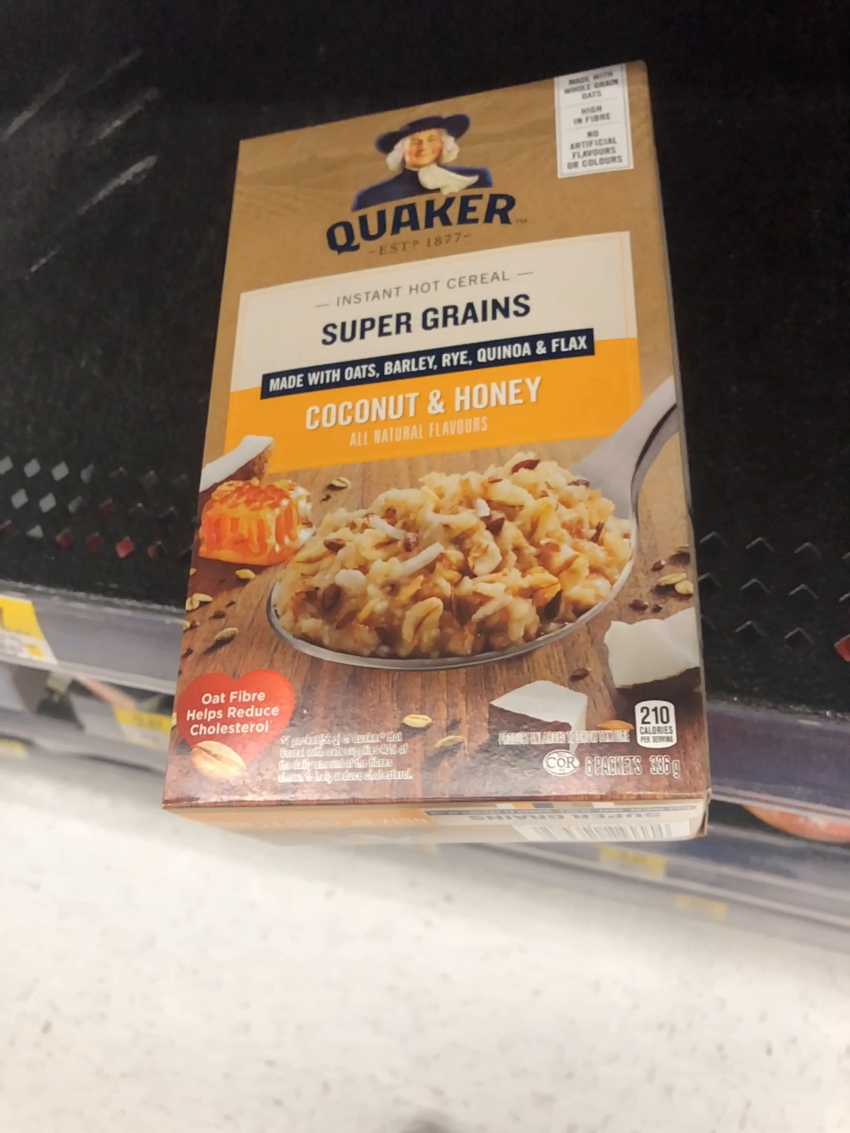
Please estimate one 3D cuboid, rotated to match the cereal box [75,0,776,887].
[{"bbox_3d":[0.005,-0.038,0.258,0.140,0.060,0.230,-5,65,14],"label":"cereal box"}]
